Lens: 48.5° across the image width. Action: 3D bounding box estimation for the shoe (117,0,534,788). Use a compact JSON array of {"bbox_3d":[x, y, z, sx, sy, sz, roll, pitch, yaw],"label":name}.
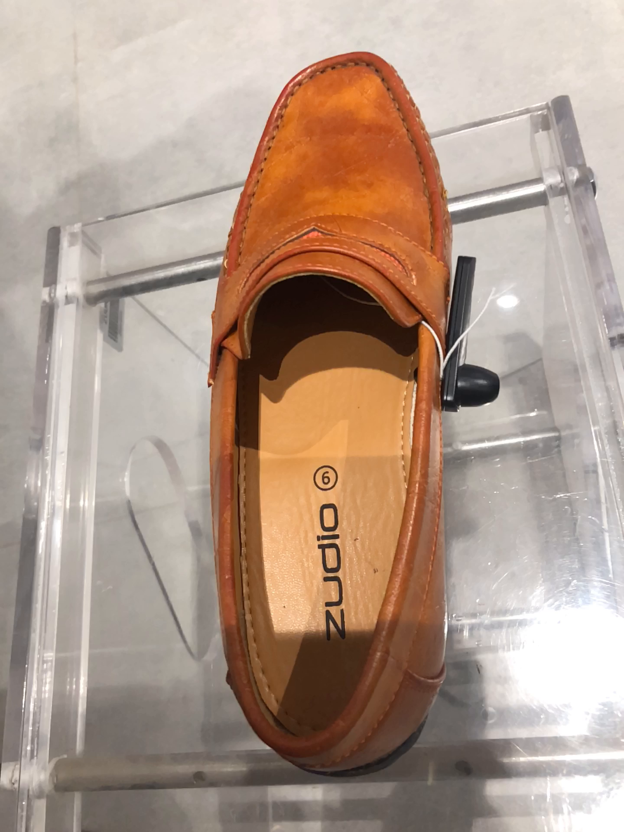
[{"bbox_3d":[0.009,-0.029,0.267,0.110,0.090,0.291,-7,69,16],"label":"shoe"}]
